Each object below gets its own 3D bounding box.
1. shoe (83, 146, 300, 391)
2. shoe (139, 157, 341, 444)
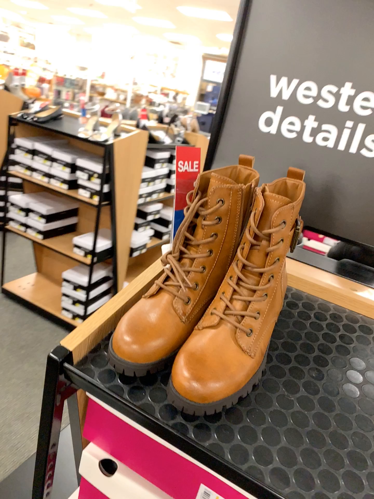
[{"bbox_3d":[0.020,0.000,0.488,0.090,0.229,0.276,25,23,29],"label":"shoe"},{"bbox_3d":[0.082,0.022,0.461,0.110,0.229,0.287,20,22,19],"label":"shoe"}]
